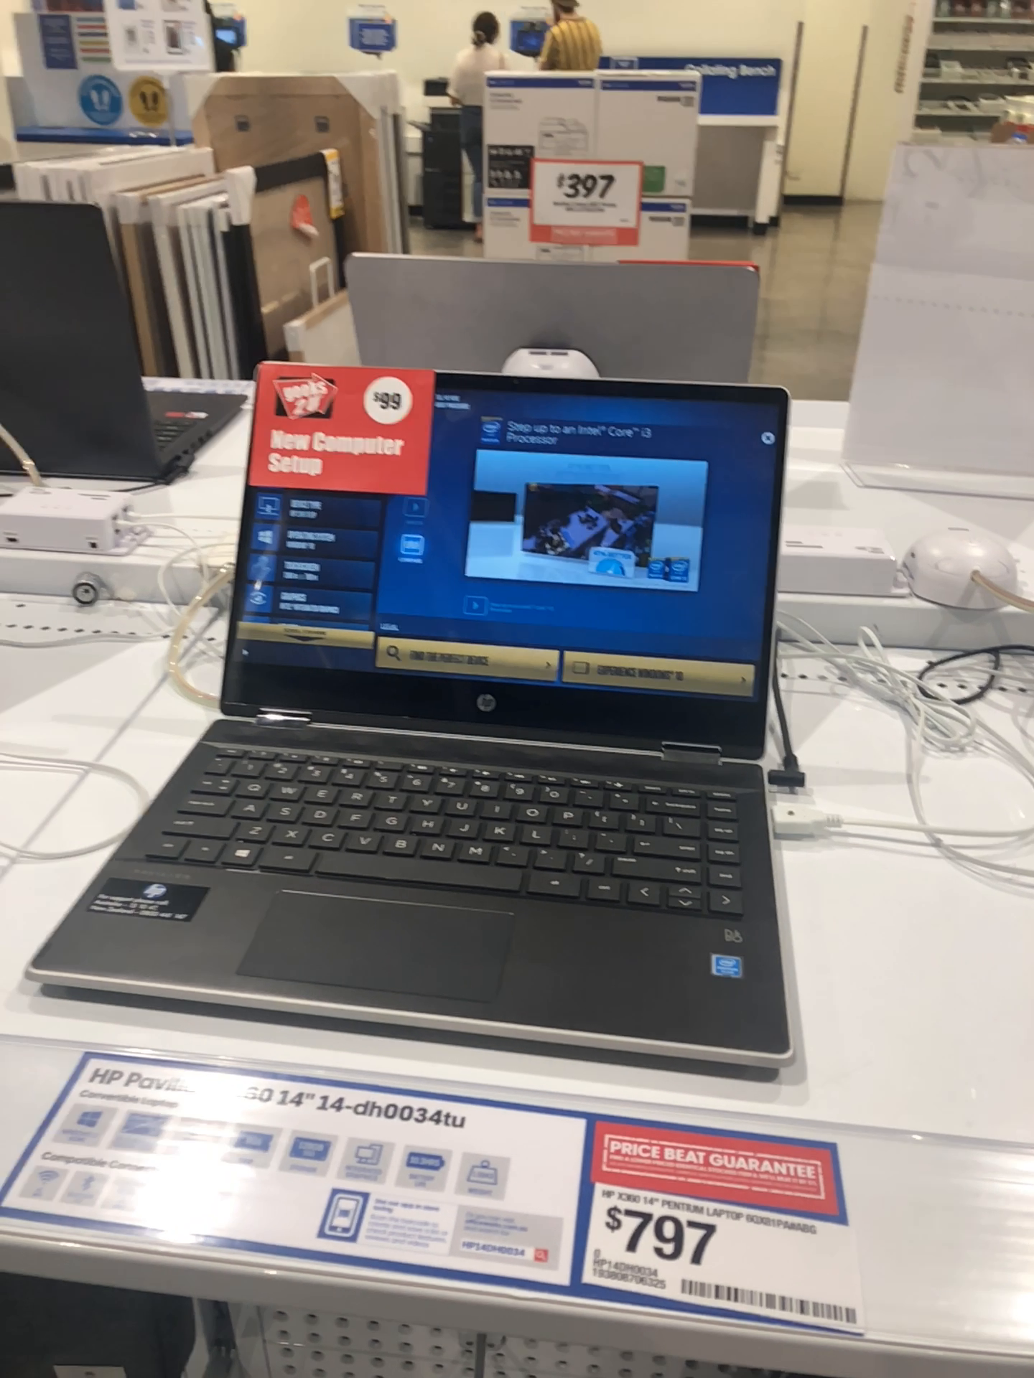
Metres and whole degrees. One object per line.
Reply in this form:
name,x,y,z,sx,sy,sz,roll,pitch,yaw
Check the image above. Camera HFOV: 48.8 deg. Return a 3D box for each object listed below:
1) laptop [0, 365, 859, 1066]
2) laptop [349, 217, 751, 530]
laptop,-0.028,-0.025,0.561,0.315,0.169,0.340,5,29,6
laptop,0.046,-0.313,1.066,0.306,0.199,0.358,5,28,7
